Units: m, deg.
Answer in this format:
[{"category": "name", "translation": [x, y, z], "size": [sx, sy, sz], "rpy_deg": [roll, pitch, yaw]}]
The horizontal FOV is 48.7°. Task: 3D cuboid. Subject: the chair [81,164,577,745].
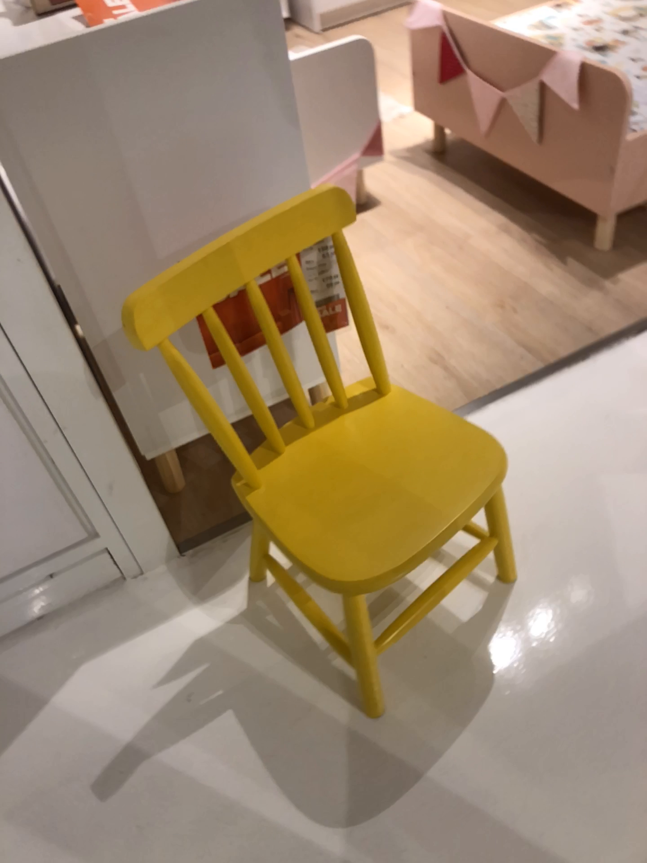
[{"category": "chair", "translation": [0.037, 0.037, 0.961], "size": [0.381, 0.576, 0.372], "rpy_deg": [-39, 51, -25]}]
